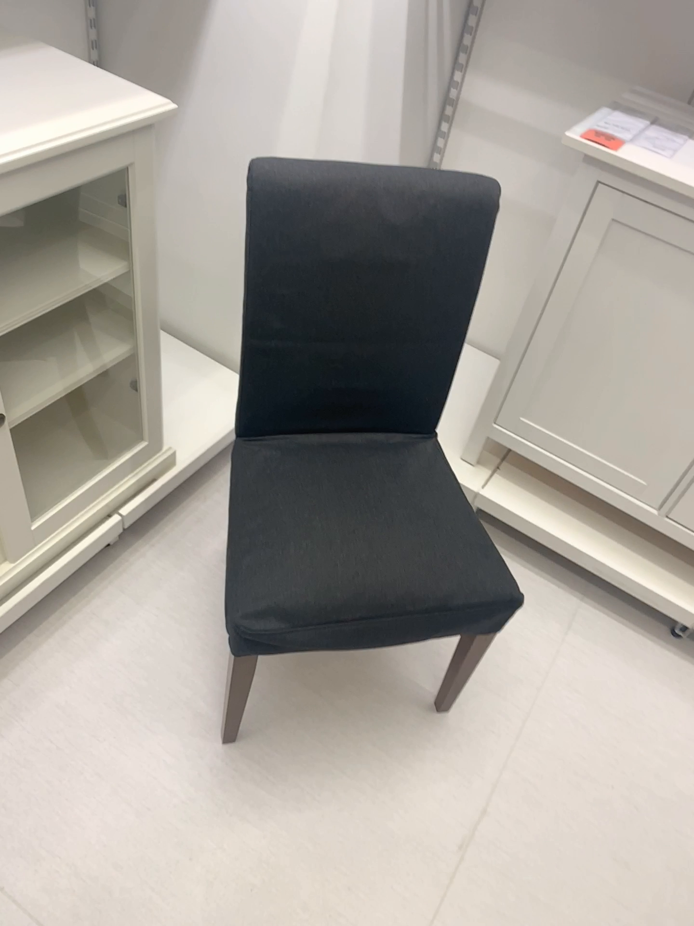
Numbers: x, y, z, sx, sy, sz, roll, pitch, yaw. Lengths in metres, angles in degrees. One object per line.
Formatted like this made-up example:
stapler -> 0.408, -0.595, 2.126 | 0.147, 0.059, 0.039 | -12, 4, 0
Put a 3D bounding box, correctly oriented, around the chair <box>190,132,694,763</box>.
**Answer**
chair -> 0.030, 0.006, 1.225 | 0.540, 0.837, 0.612 | -2, 47, -15
